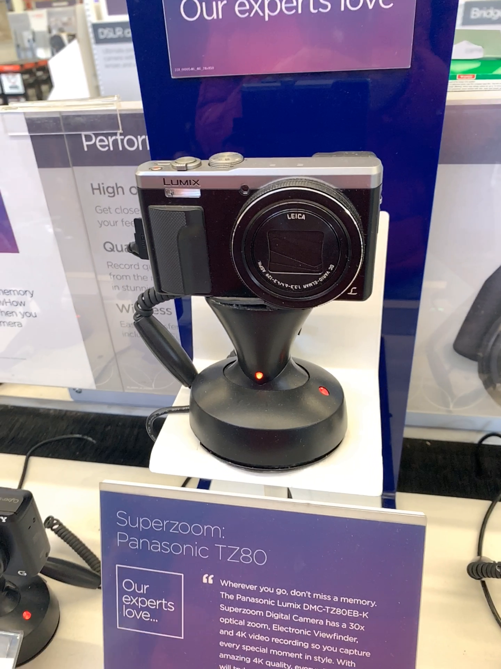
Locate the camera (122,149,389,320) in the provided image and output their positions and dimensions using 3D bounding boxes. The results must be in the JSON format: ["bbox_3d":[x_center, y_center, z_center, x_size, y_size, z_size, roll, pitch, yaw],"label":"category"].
[{"bbox_3d":[0.004,-0.047,0.243,0.110,0.069,0.030,3,32,8],"label":"camera"}]
